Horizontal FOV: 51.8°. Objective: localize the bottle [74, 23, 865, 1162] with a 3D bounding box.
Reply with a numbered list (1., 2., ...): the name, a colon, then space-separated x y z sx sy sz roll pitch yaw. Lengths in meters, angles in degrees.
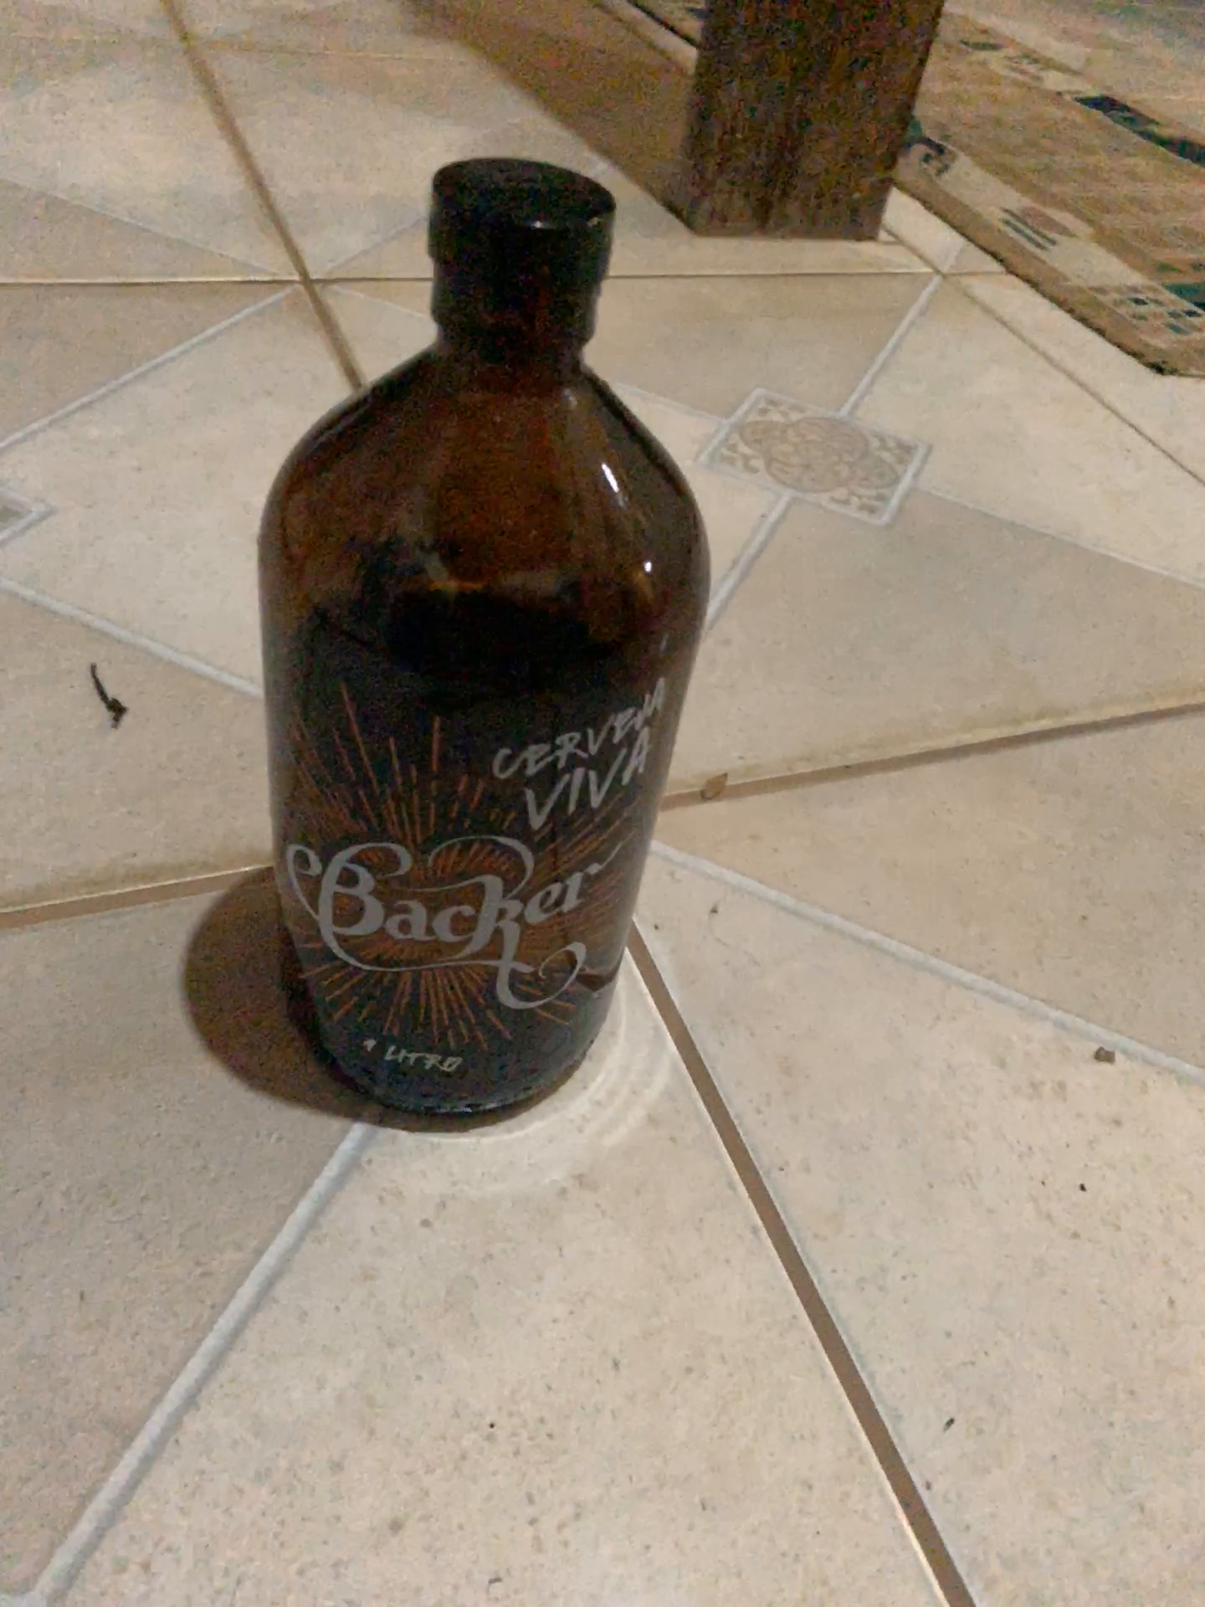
1. bottle: -0.024 -0.027 0.265 0.100 0.209 0.090 14 45 4
